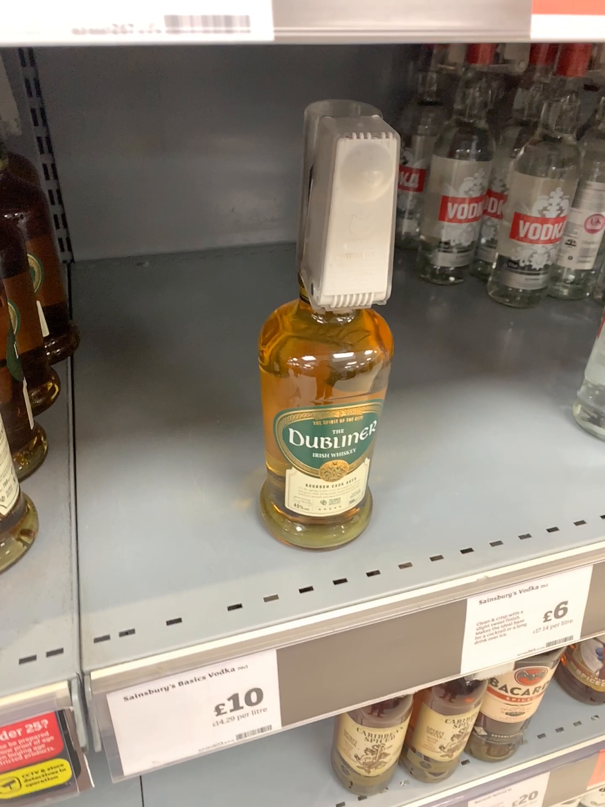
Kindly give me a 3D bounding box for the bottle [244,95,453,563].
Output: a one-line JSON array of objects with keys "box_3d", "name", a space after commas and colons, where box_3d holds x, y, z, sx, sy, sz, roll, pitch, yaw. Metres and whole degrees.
[{"box_3d": [0.015, -0.032, 0.397, 0.089, 0.283, 0.091, 1, 36, -1], "name": "bottle"}]
